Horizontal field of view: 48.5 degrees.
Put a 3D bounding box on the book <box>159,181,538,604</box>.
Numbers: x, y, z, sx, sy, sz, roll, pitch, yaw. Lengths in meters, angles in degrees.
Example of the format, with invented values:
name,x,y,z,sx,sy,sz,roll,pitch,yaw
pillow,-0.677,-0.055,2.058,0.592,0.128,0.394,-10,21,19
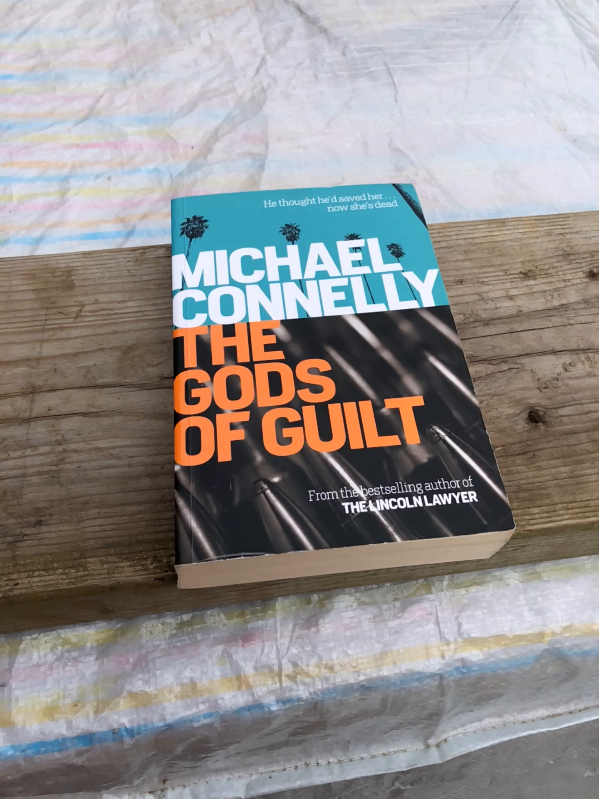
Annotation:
name,x,y,z,sx,sy,sz,roll,pitch,yaw
book,0.008,-0.017,0.313,0.140,0.040,0.201,-5,57,-5
